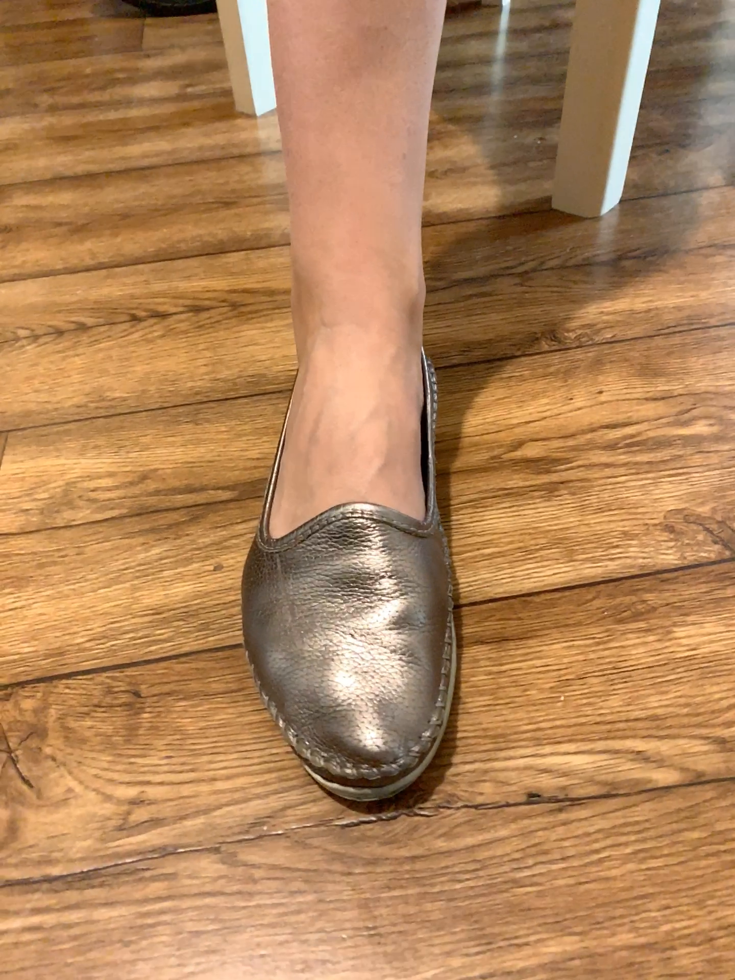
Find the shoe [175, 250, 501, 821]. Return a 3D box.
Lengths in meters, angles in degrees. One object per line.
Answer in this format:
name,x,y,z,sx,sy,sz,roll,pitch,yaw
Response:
shoe,-0.004,0.006,0.314,0.095,0.070,0.231,-1,55,4
